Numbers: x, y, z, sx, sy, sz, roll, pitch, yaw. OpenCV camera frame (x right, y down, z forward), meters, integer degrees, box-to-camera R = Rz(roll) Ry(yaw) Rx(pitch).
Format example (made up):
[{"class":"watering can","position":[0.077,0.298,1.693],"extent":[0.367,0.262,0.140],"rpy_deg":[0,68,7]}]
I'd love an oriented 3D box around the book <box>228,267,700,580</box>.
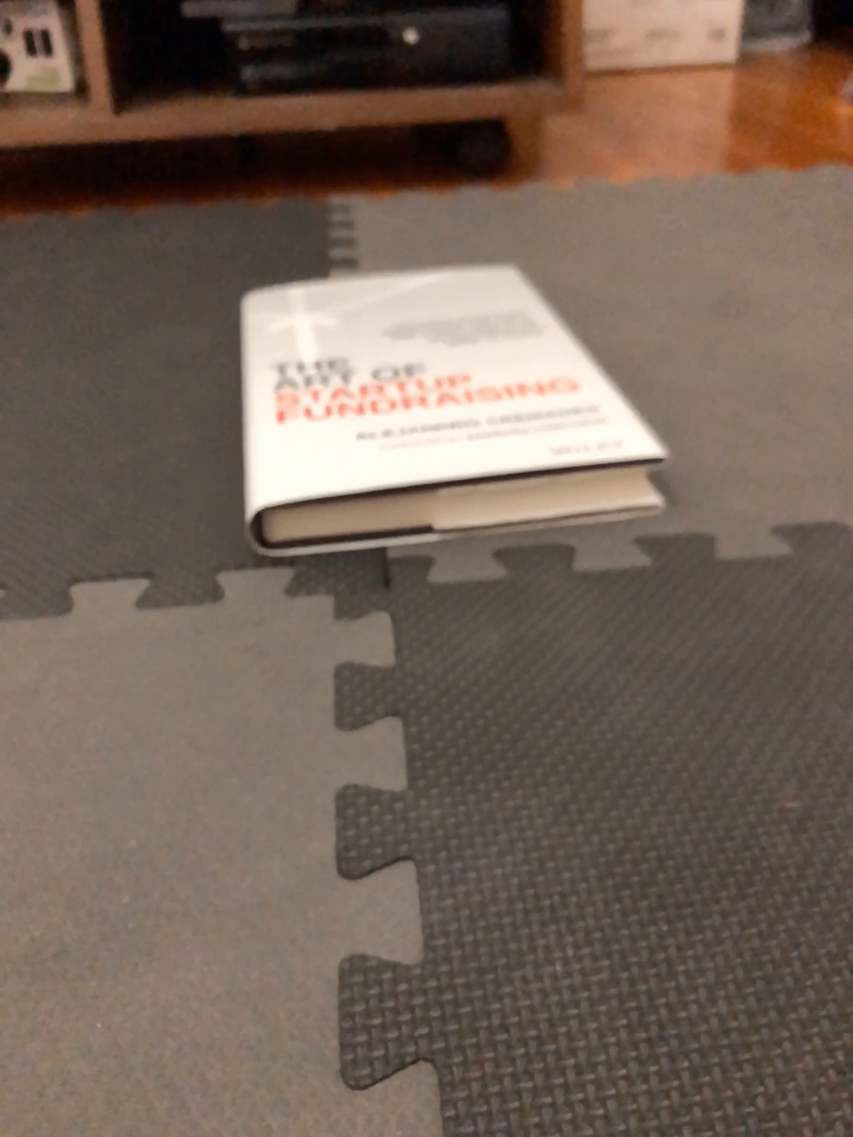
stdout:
[{"class":"book","position":[-0.002,-0.086,0.453],"extent":[0.170,0.030,0.252],"rpy_deg":[-7,33,-5]}]
